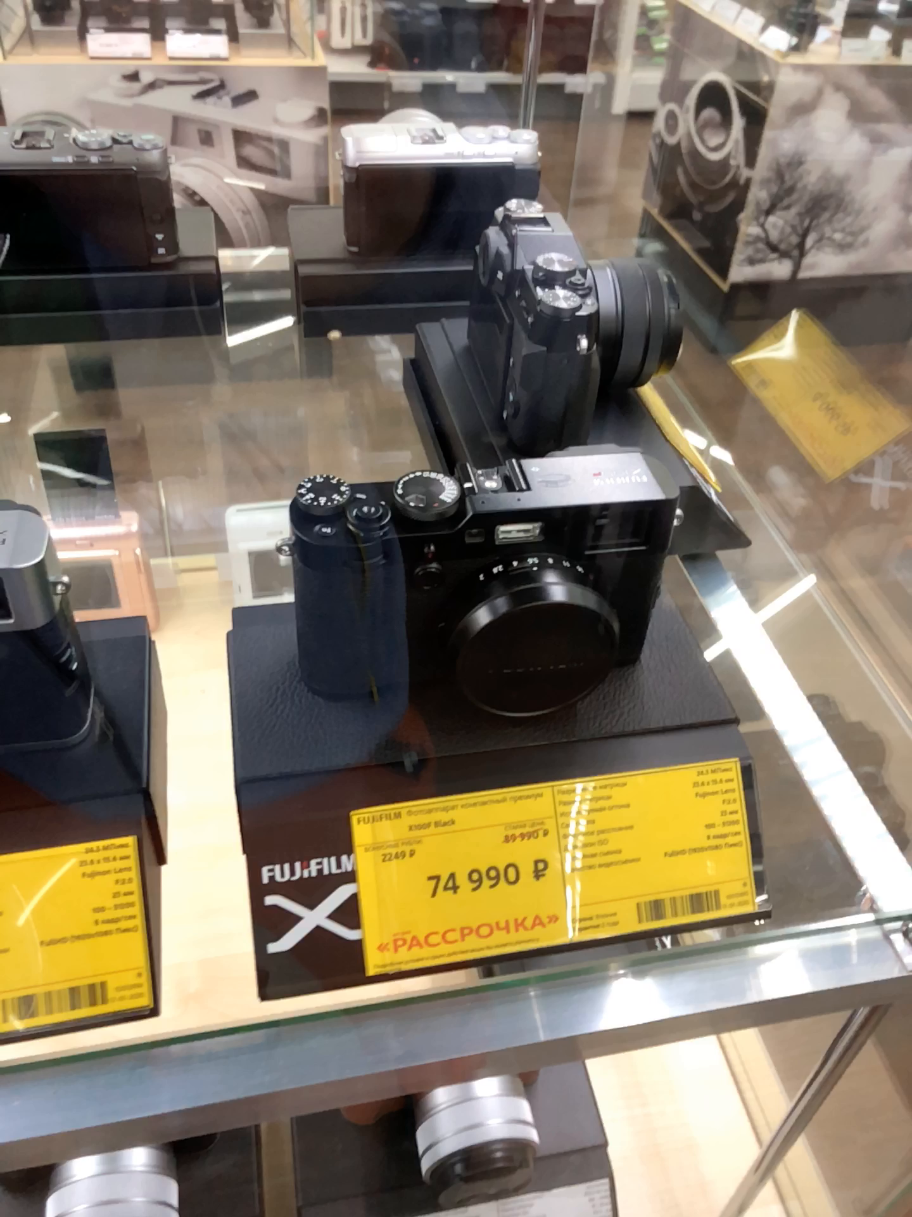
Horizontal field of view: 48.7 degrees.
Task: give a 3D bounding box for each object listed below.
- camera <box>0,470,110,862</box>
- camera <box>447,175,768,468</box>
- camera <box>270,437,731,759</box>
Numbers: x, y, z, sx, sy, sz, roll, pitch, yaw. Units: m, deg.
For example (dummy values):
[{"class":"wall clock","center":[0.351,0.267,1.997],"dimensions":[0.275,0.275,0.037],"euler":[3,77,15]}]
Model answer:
[{"class":"camera","center":[-0.173,0.015,0.284],"dimensions":[0.131,0.081,0.055],"euler":[-6,42,-11]},{"class":"camera","center":[0.062,-0.141,0.478],"dimensions":[0.104,0.081,0.131],"euler":[-6,42,-11]},{"class":"camera","center":[0.010,-0.005,0.329],"dimensions":[0.131,0.075,0.055],"euler":[-6,42,-11]}]
